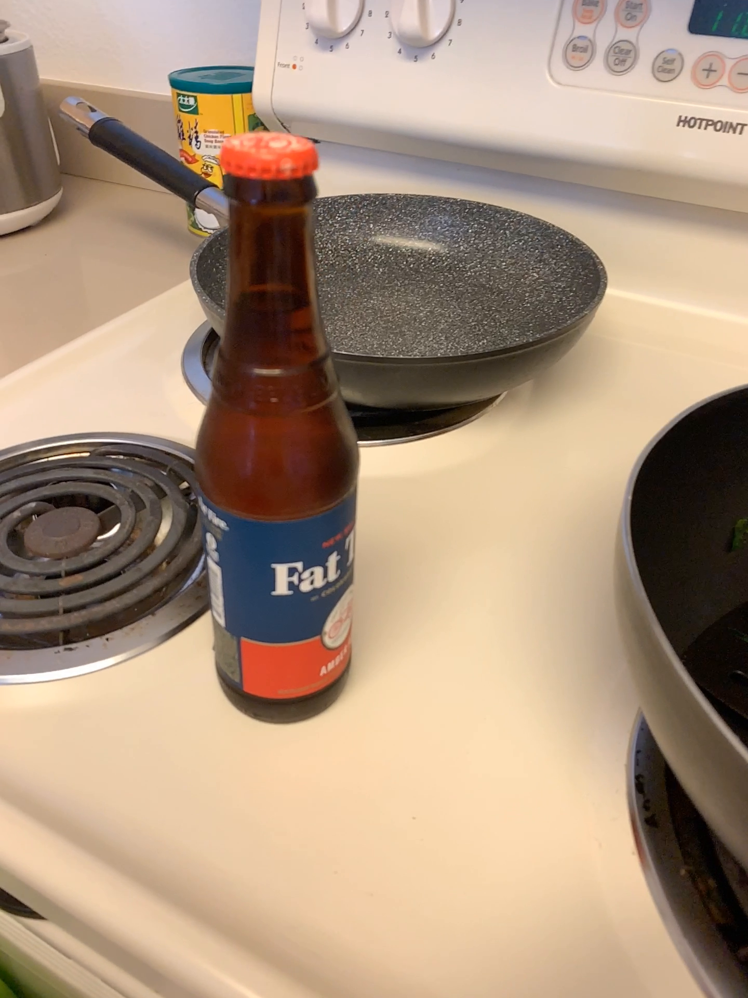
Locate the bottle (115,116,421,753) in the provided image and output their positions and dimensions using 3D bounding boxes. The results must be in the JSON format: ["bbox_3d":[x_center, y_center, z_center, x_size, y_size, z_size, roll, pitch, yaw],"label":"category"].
[{"bbox_3d":[-0.032,-0.010,0.279,0.060,0.219,0.060,1,37,-1],"label":"bottle"}]
